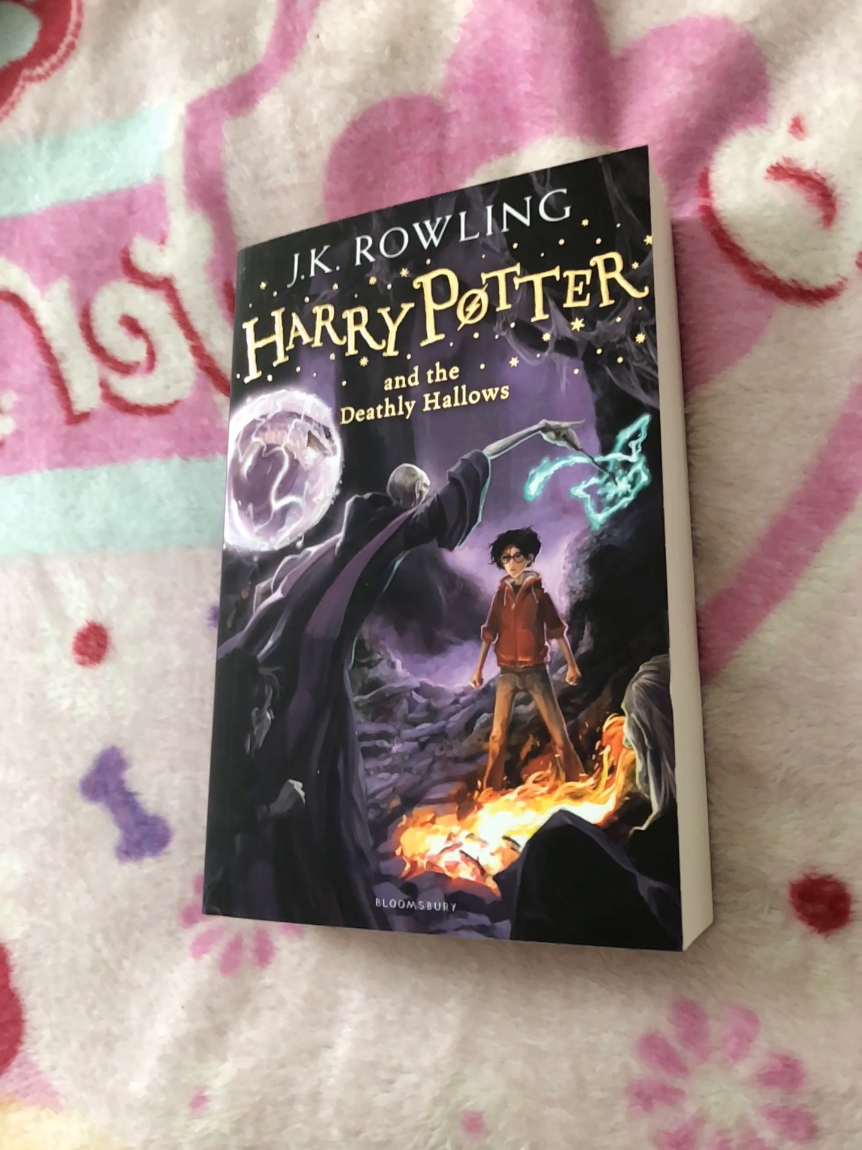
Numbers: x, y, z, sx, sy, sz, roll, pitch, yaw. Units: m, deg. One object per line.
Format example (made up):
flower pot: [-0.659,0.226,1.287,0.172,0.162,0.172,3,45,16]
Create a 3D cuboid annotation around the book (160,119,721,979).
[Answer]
book: [0.003,-0.003,0.257,0.126,0.060,0.187,-5,78,25]
